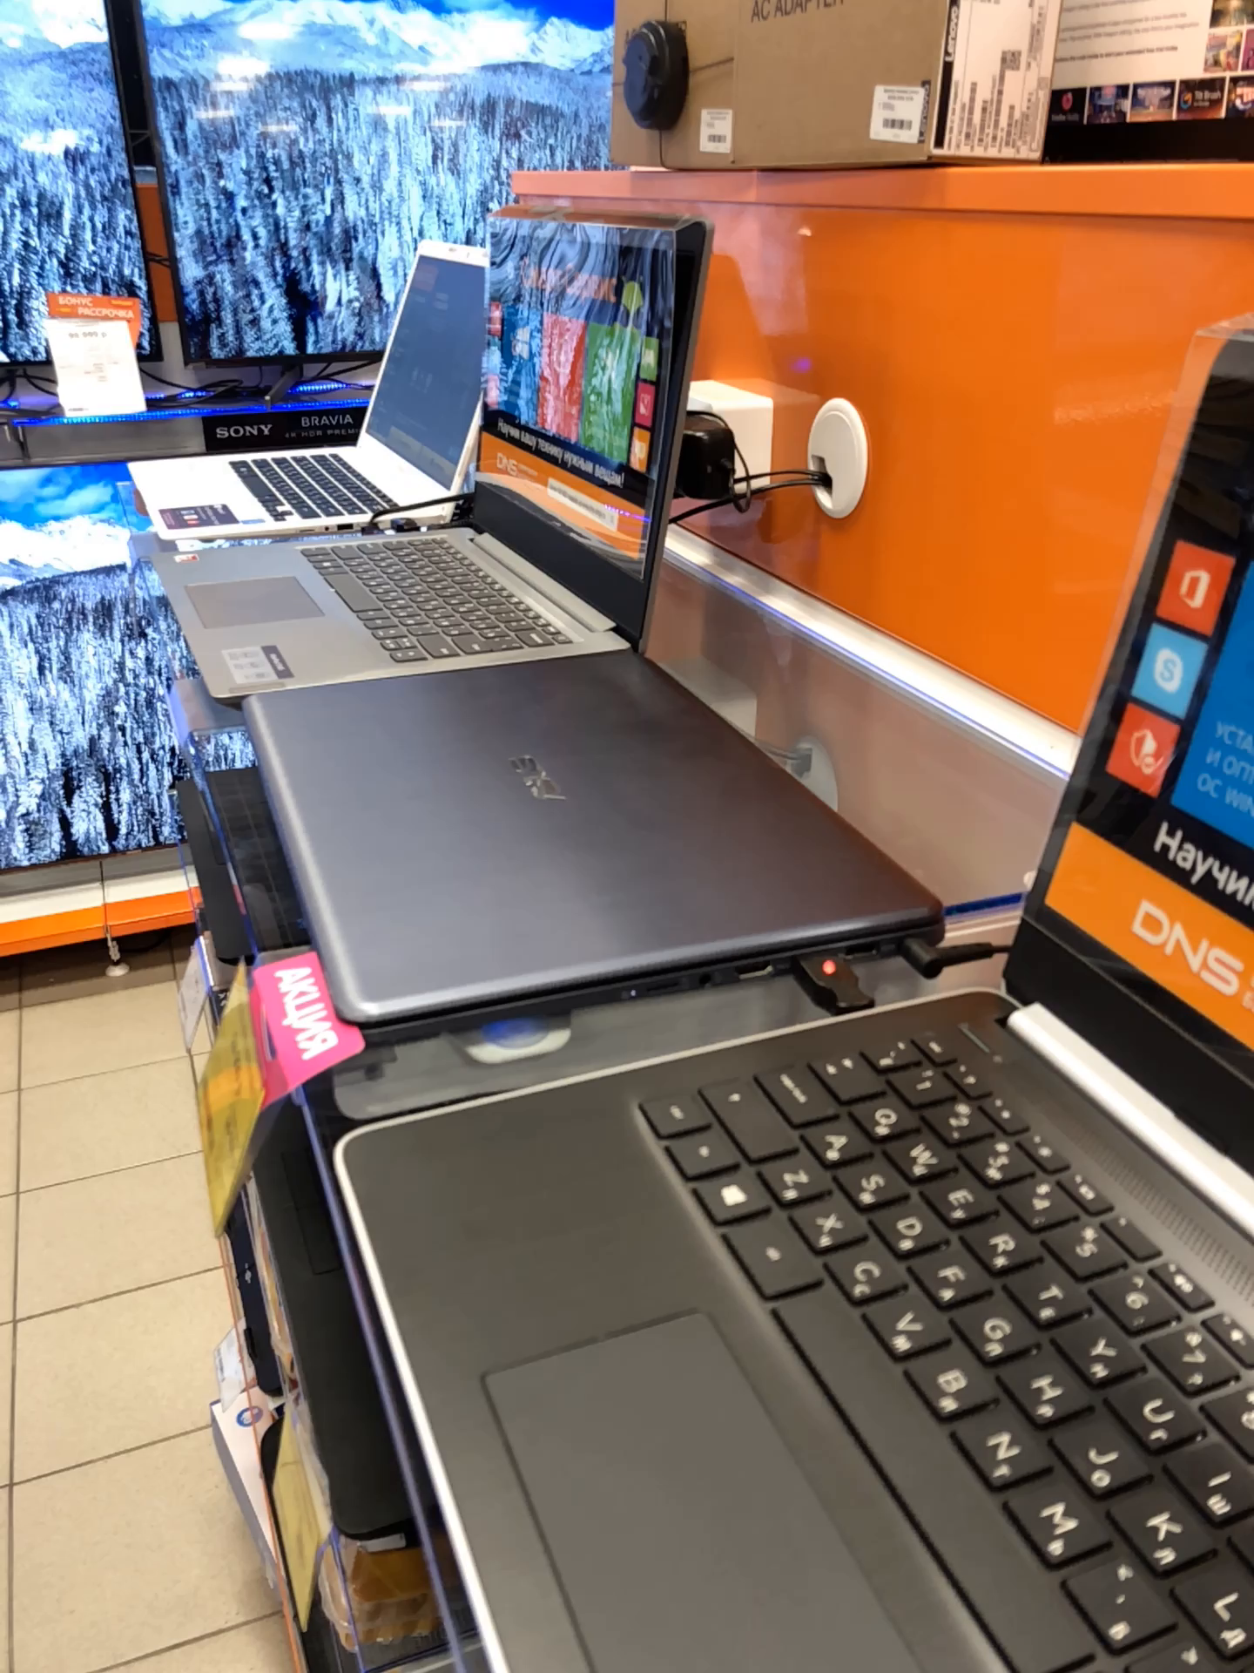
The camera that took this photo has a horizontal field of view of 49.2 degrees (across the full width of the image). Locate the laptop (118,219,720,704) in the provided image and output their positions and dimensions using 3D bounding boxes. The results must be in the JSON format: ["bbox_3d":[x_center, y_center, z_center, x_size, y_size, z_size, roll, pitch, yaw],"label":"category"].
[{"bbox_3d":[-0.146,-0.266,0.868,0.289,0.224,0.354,-10,26,-20],"label":"laptop"}]

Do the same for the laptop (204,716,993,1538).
[{"bbox_3d":[-0.047,0.116,0.776,0.312,0.227,0.378,-9,26,-18],"label":"laptop"}]

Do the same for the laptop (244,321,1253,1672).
[{"bbox_3d":[0.105,0.039,0.243,0.271,0.205,0.337,-10,27,-19],"label":"laptop"}]

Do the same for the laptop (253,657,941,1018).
[{"bbox_3d":[-0.041,-0.022,0.605,0.213,0.001,0.325,-9,26,-17],"label":"laptop"}]
